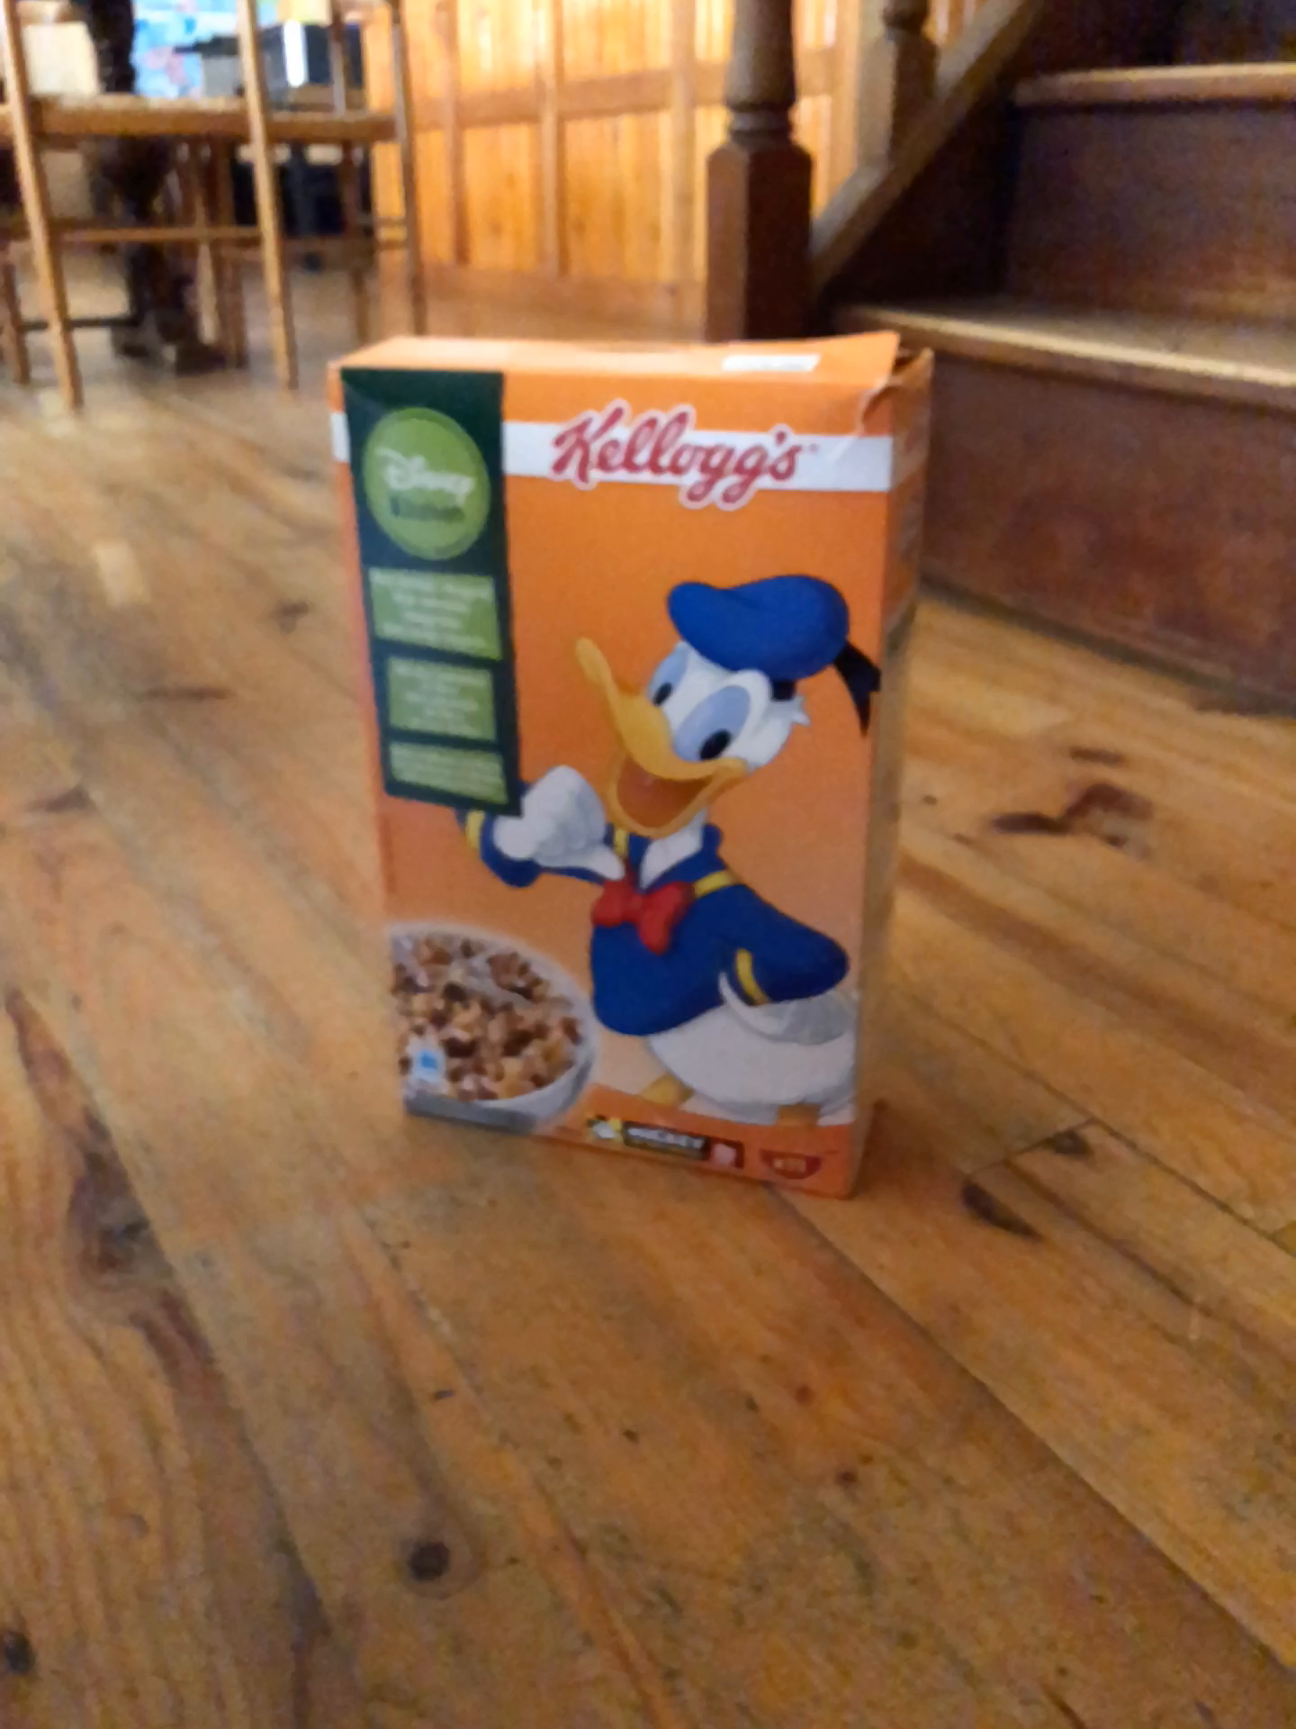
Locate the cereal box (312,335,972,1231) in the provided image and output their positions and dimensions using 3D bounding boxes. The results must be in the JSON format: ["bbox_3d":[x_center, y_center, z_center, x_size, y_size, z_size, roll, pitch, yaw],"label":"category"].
[{"bbox_3d":[0.000,-0.032,0.540,0.200,0.298,0.091,8,26,17],"label":"cereal box"}]
